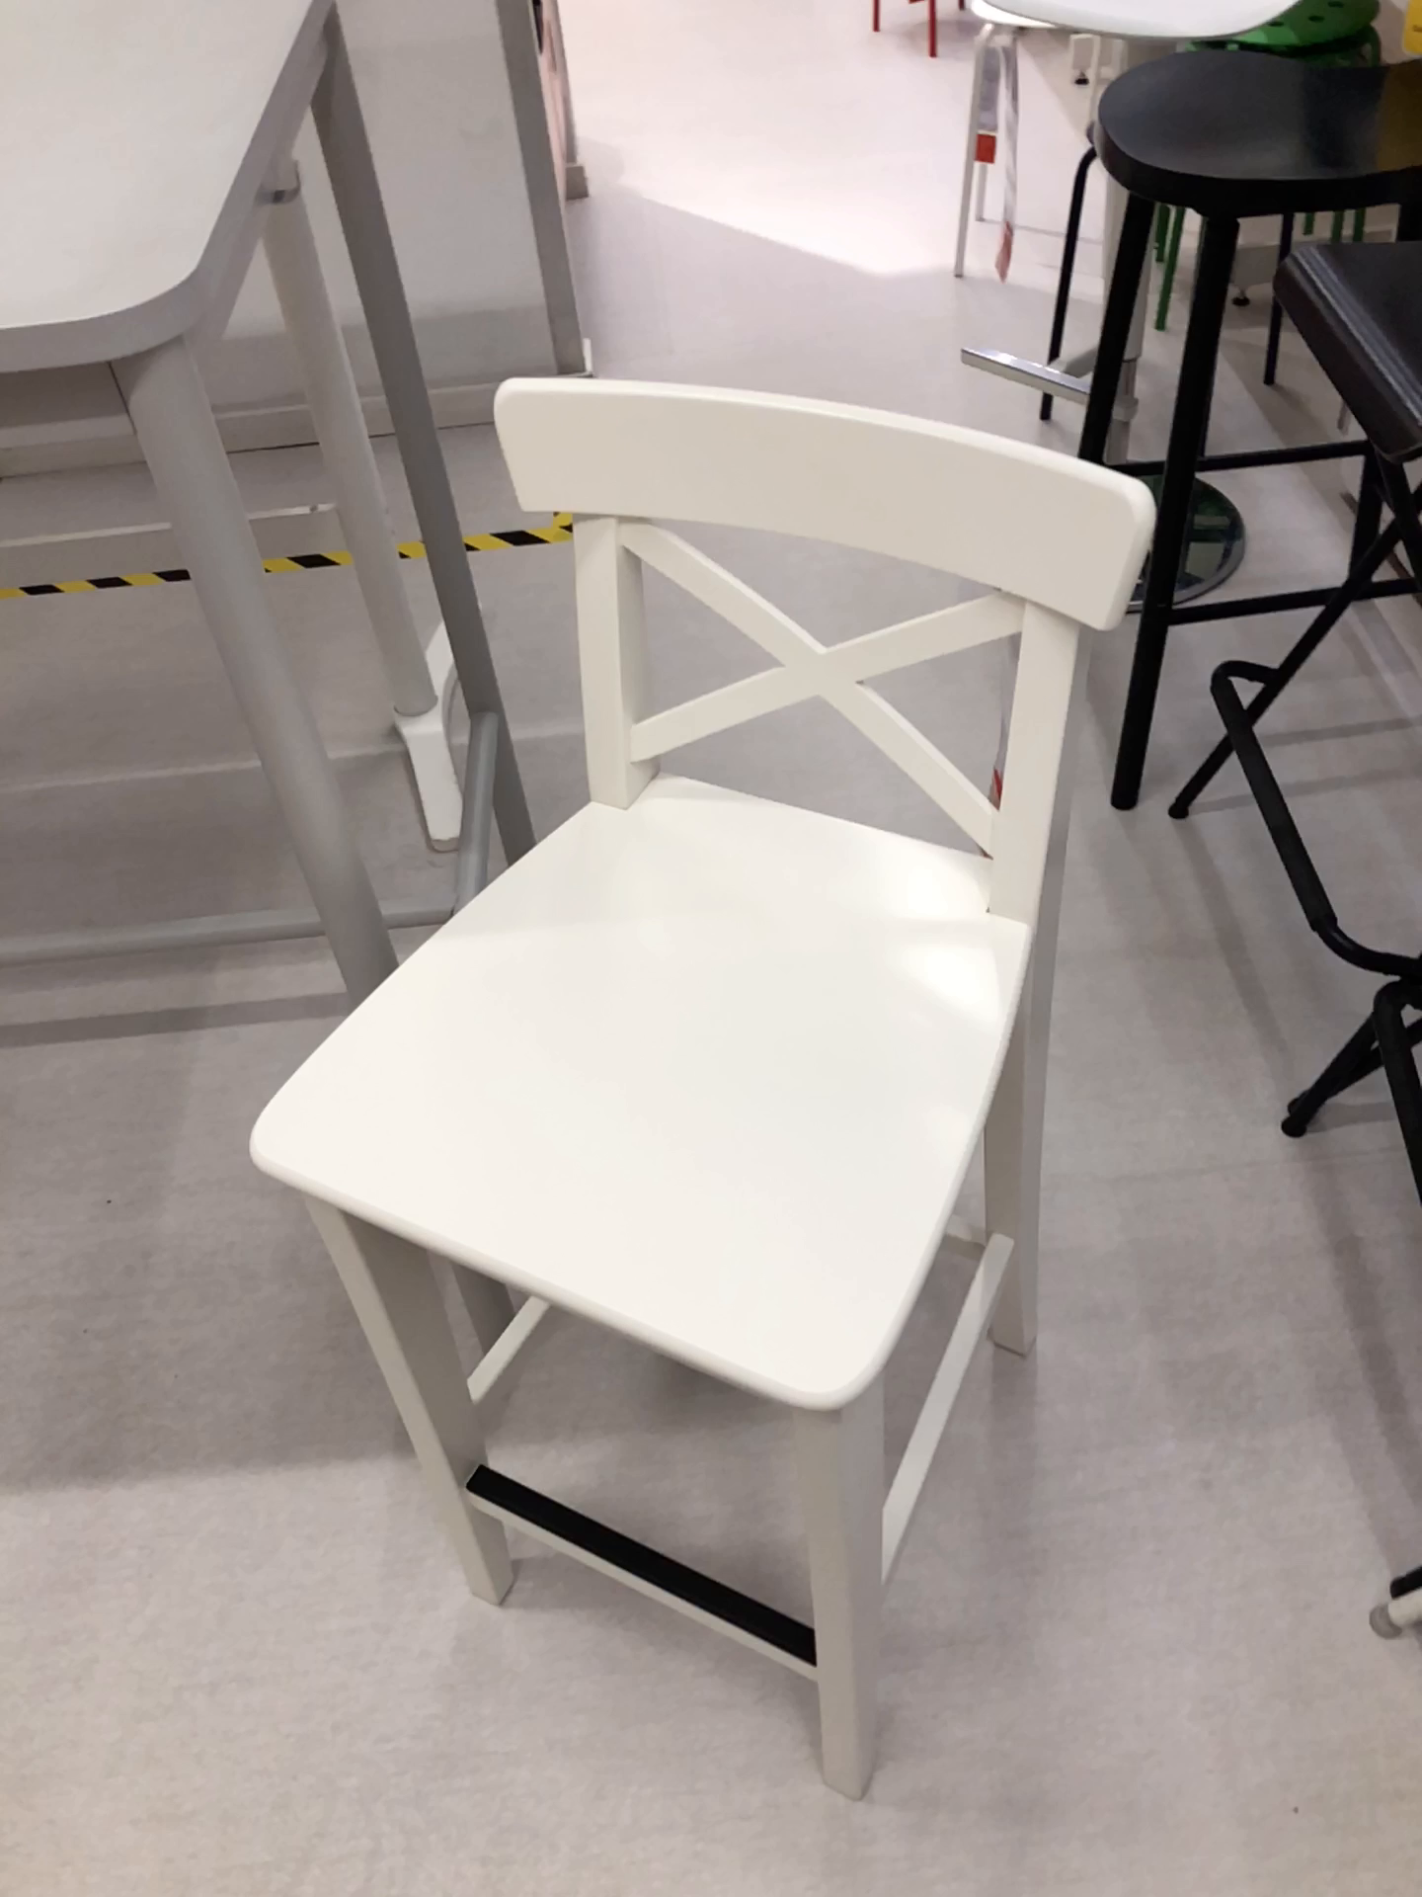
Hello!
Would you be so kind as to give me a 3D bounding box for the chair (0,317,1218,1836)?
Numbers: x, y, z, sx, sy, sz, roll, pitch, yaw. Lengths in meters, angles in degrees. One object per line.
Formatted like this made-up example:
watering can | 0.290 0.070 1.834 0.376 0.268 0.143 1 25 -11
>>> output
chair | -0.005 0.126 0.988 0.421 0.835 0.422 18 51 23
